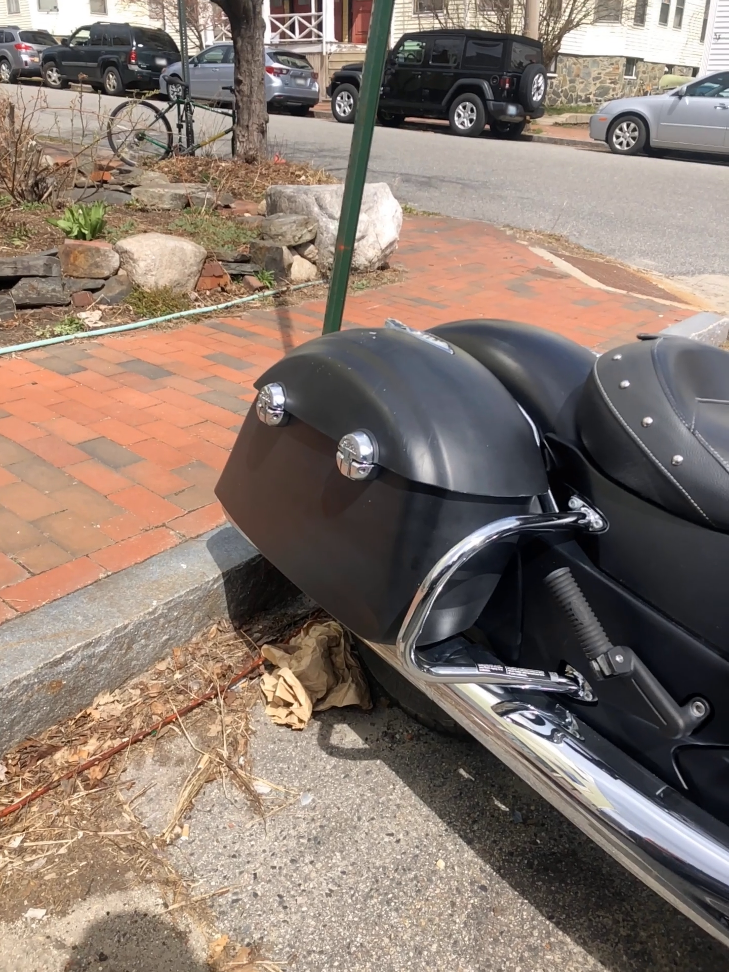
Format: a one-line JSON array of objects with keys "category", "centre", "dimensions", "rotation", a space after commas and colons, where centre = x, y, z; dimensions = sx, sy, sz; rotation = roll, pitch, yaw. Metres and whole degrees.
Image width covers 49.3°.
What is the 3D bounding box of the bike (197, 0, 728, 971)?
[{"category": "bike", "centre": [0.770, 0.209, 0.671], "dimensions": [0.783, 1.238, 2.130], "rotation": [-19, 31, -35]}]
